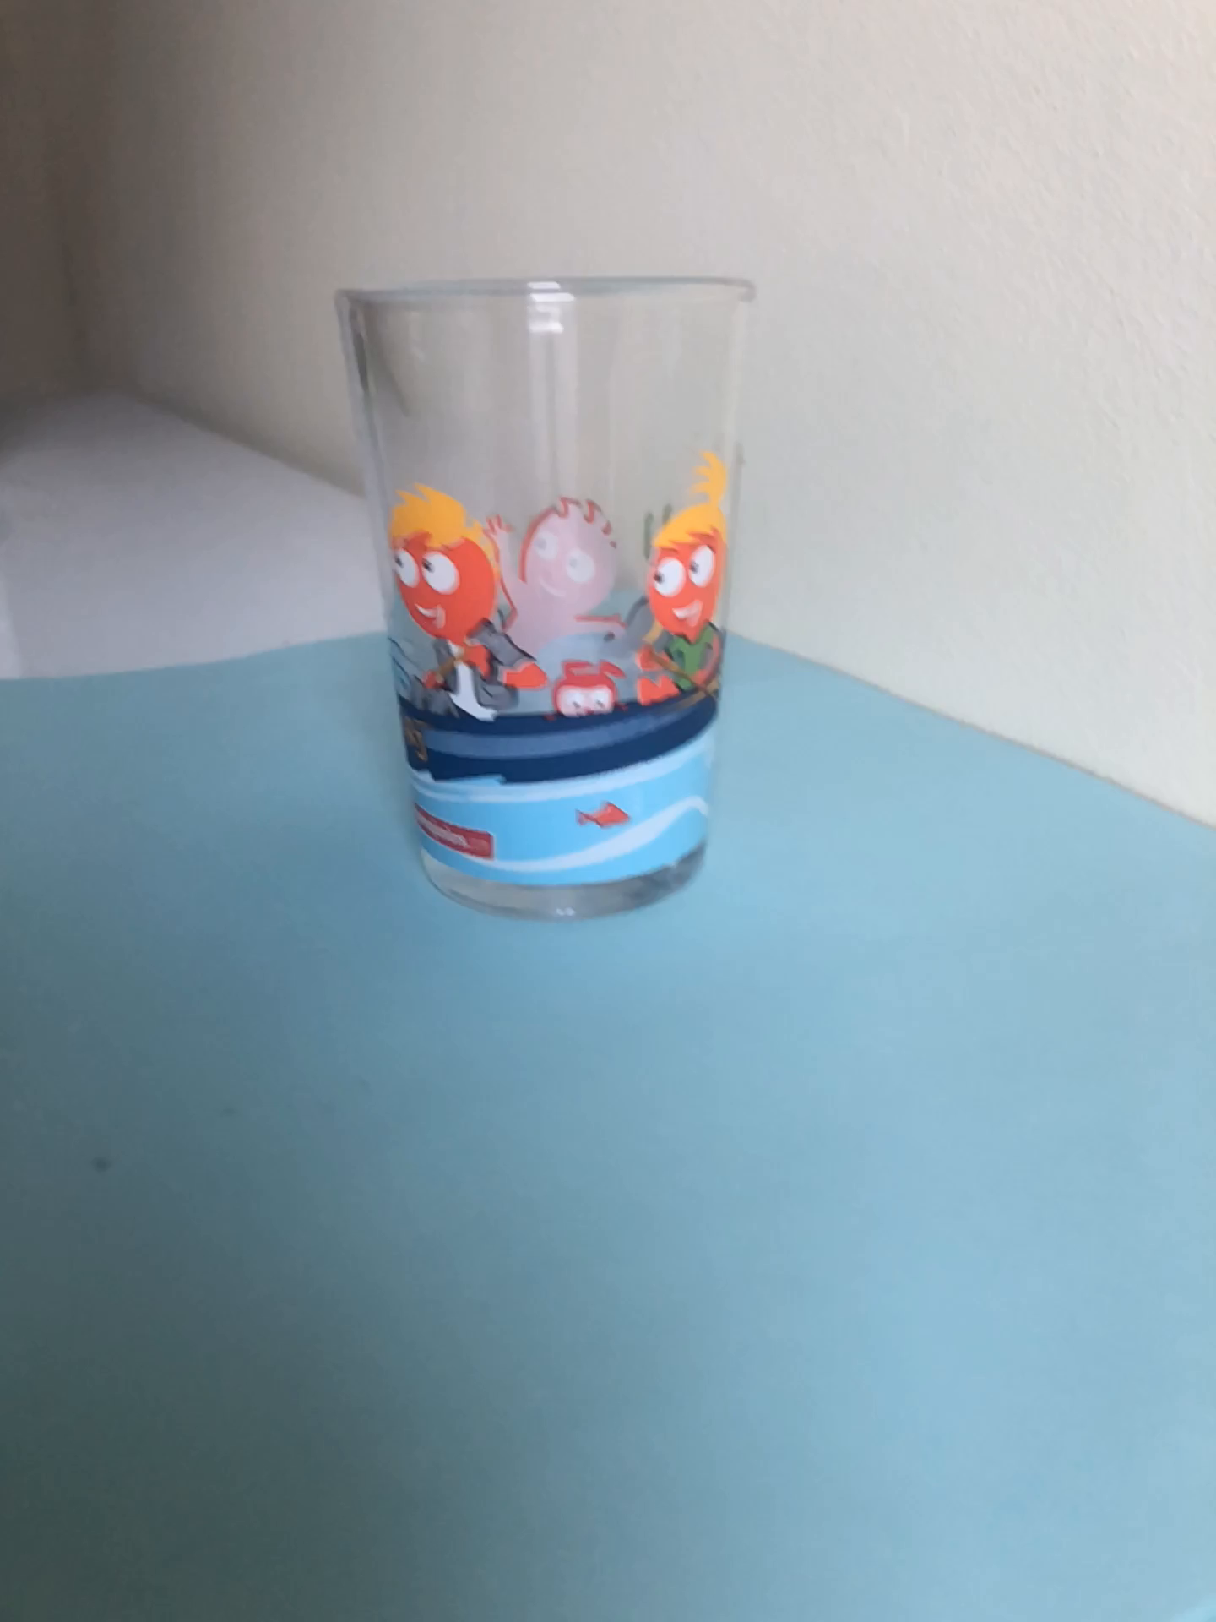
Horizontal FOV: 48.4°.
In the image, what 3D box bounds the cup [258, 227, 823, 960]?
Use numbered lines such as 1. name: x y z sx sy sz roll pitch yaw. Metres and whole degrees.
1. cup: -0.008 -0.040 0.220 0.060 0.100 0.060 -1 22 0
